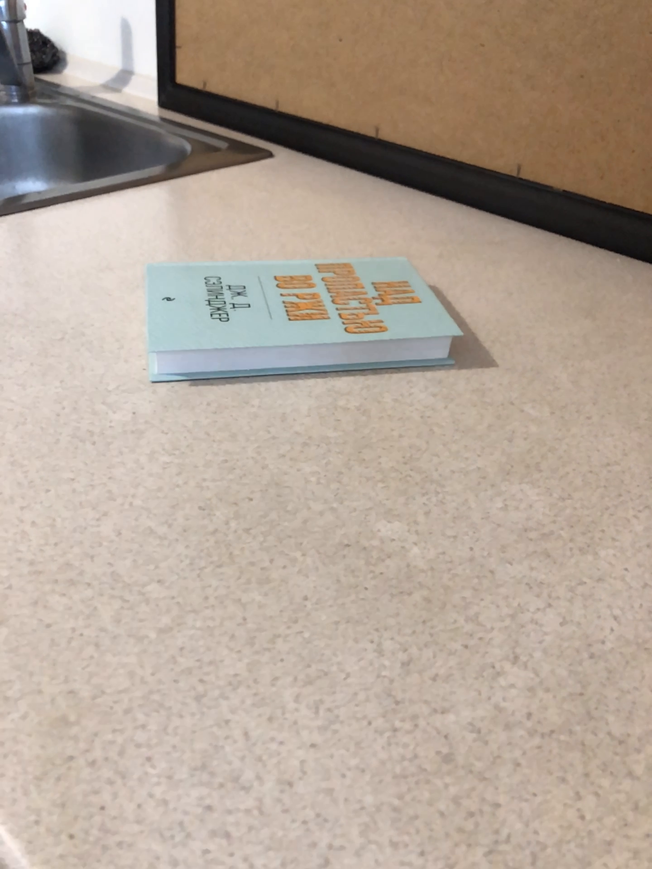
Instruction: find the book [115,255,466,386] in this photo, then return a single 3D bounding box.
[{"bbox_3d":[-0.025,-0.072,0.419,0.180,0.020,0.118,-4,35,-10],"label":"book"}]
